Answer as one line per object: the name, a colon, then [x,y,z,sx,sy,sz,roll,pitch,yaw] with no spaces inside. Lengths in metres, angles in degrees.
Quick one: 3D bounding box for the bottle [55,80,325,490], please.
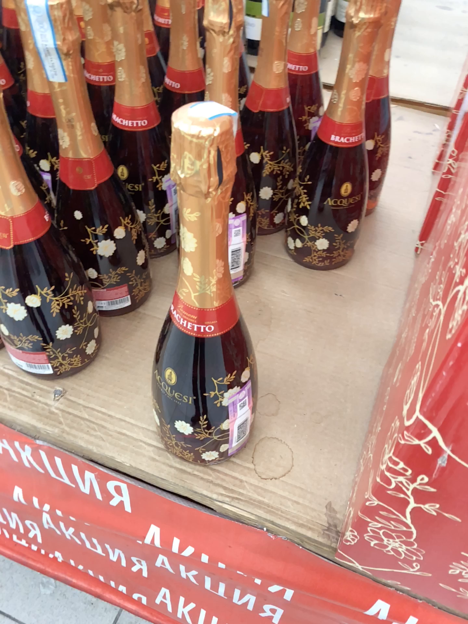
bottle: [-0.027,0.003,0.375,0.100,0.279,0.100,1,48,-1]
